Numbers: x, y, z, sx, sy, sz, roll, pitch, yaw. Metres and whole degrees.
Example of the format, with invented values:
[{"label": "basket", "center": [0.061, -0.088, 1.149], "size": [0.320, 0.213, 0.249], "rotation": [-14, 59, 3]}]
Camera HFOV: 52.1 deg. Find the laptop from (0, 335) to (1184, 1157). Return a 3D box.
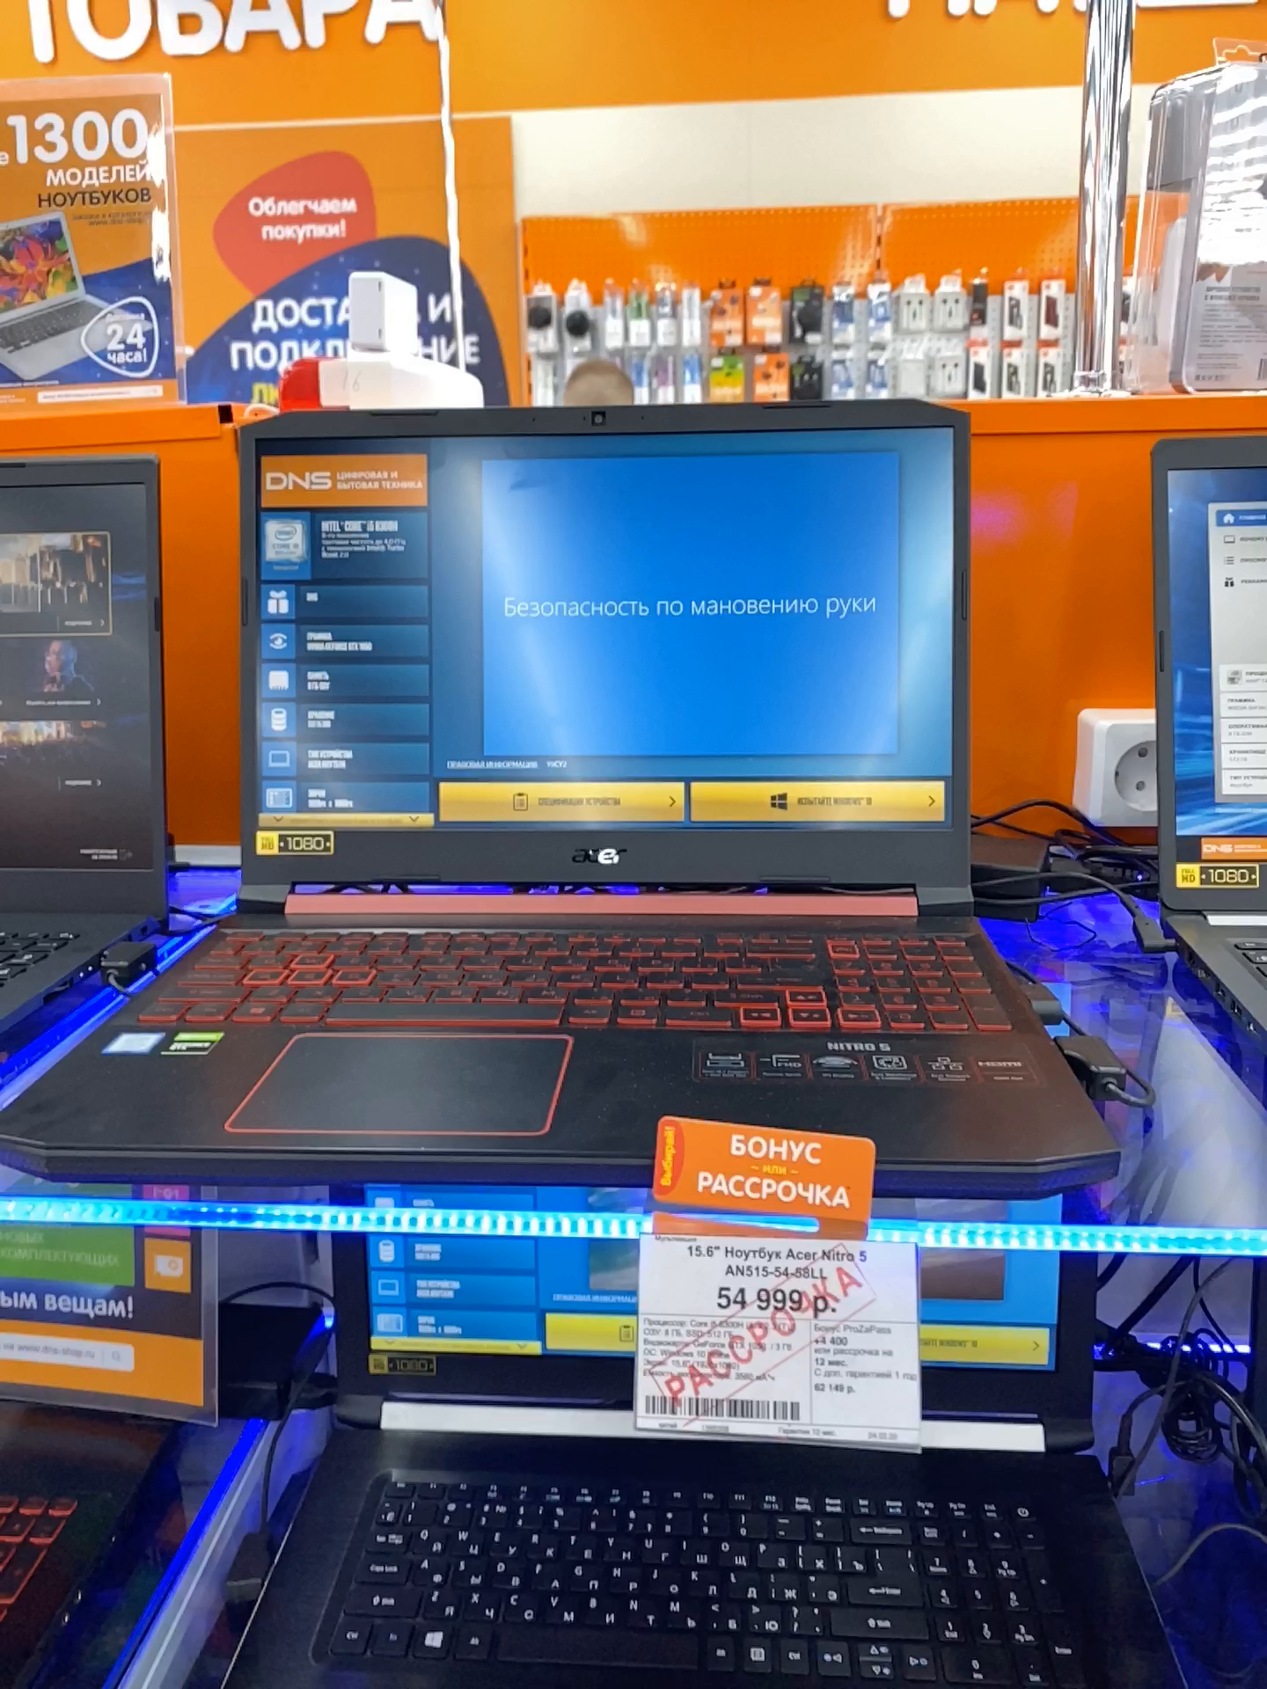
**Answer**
[{"label": "laptop", "center": [-0.023, -0.057, 0.525], "size": [0.360, 0.237, 0.303], "rotation": [0, 14, 3]}]
